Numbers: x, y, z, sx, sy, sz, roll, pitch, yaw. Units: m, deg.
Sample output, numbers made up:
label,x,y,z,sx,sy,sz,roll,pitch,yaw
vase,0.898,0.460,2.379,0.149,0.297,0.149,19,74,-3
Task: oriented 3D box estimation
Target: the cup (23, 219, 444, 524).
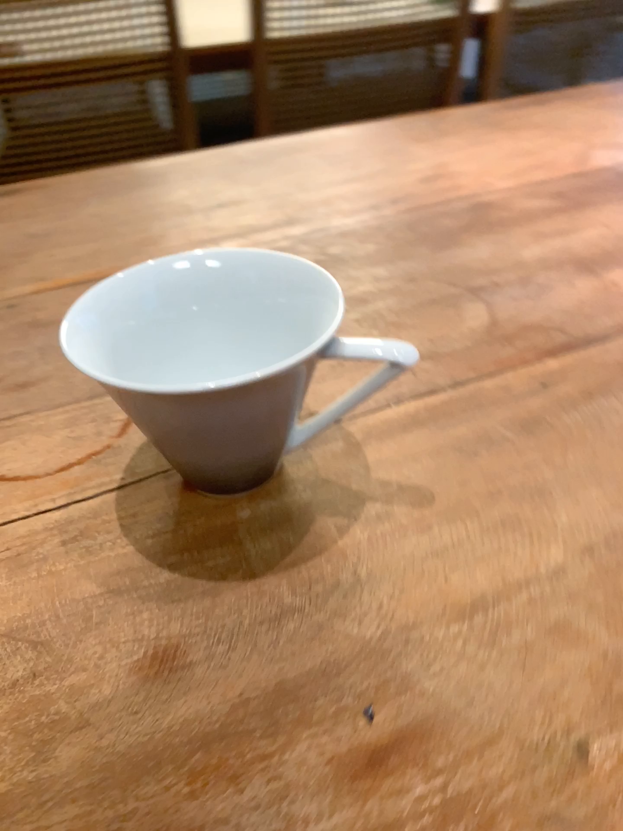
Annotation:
label,x,y,z,sx,sy,sz,roll,pitch,yaw
cup,-0.019,-0.024,0.243,0.120,0.060,0.090,8,39,15
